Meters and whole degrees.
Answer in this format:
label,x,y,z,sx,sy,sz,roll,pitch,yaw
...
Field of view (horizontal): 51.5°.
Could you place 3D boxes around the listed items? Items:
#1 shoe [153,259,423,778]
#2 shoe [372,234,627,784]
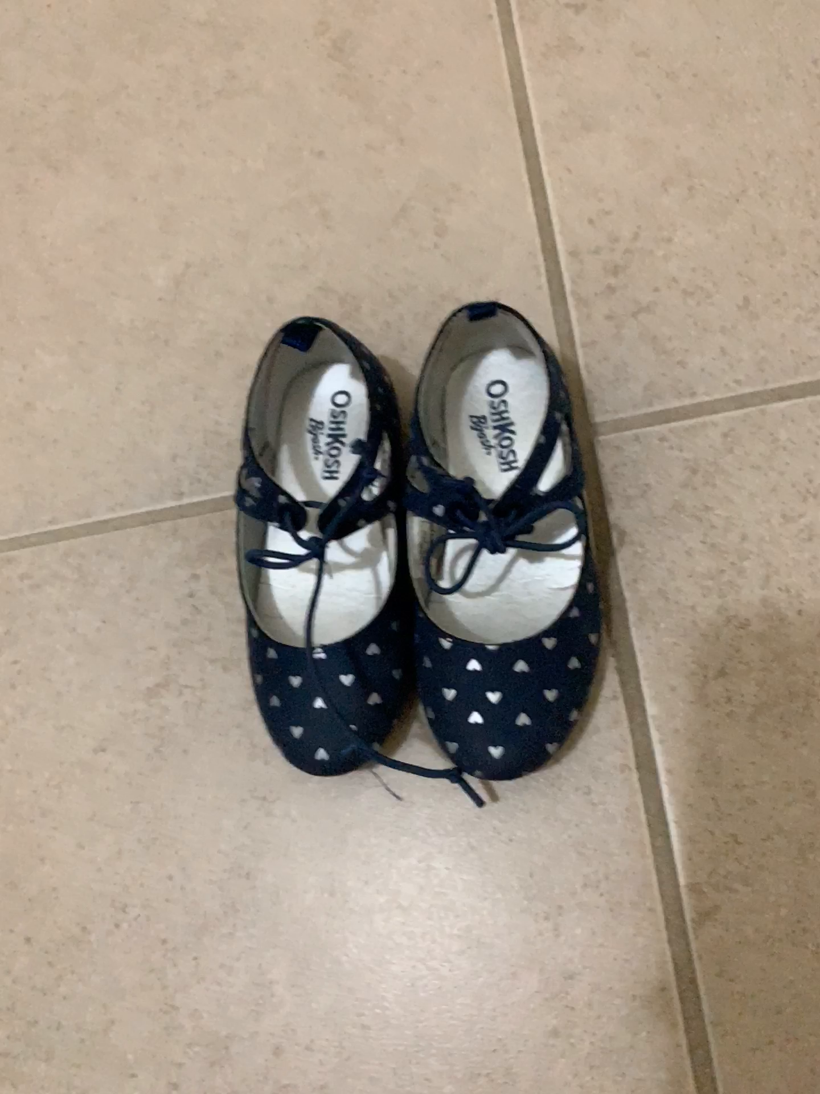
label,x,y,z,sx,sy,sz,roll,pitch,yaw
shoe,-0.038,-0.007,0.306,0.070,0.062,0.171,-5,73,13
shoe,0.030,-0.009,0.289,0.070,0.062,0.171,-5,73,13
